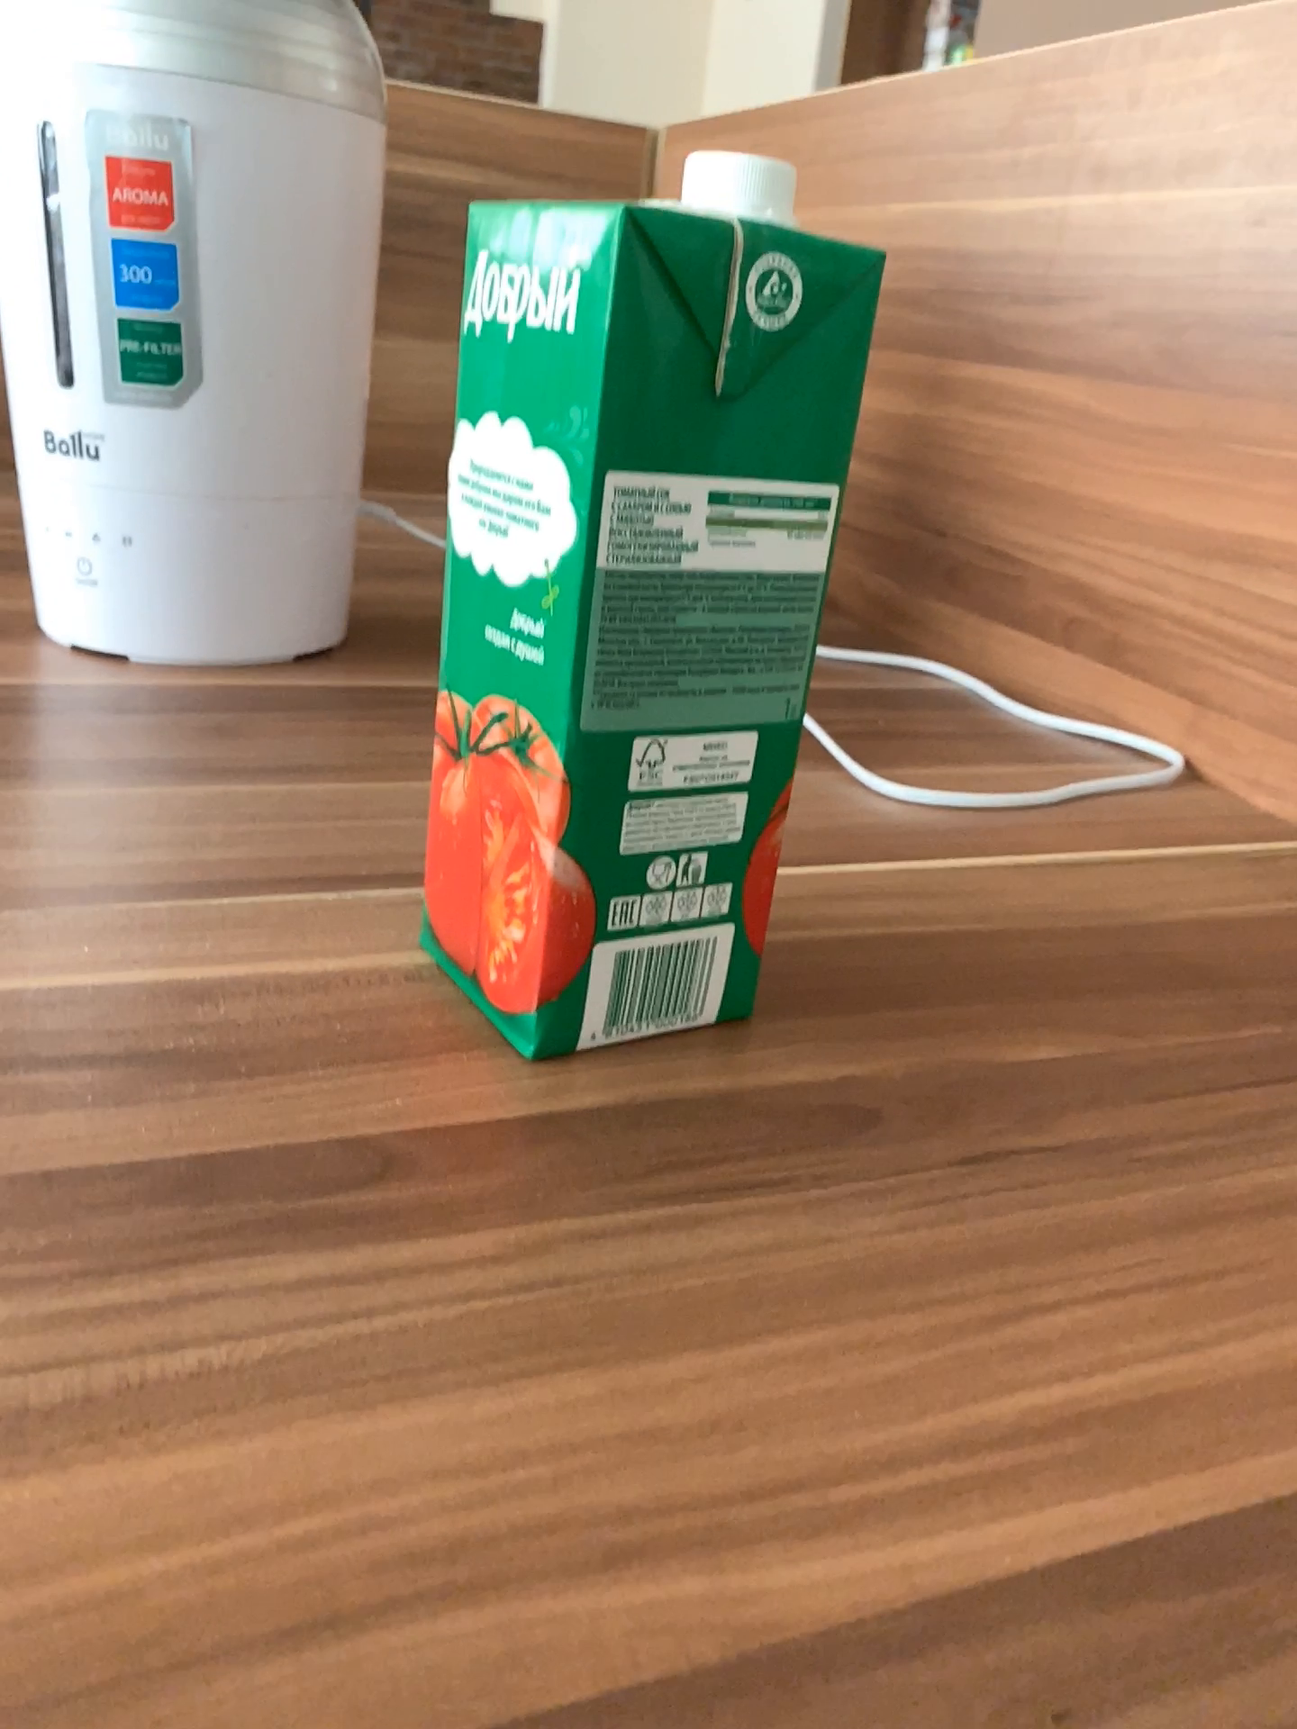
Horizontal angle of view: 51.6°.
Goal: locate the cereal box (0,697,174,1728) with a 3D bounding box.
[{"bbox_3d":[-0.587,0.480,0.365,0.591,0.836,0.612,17,24,25],"label":"cereal box"}]
